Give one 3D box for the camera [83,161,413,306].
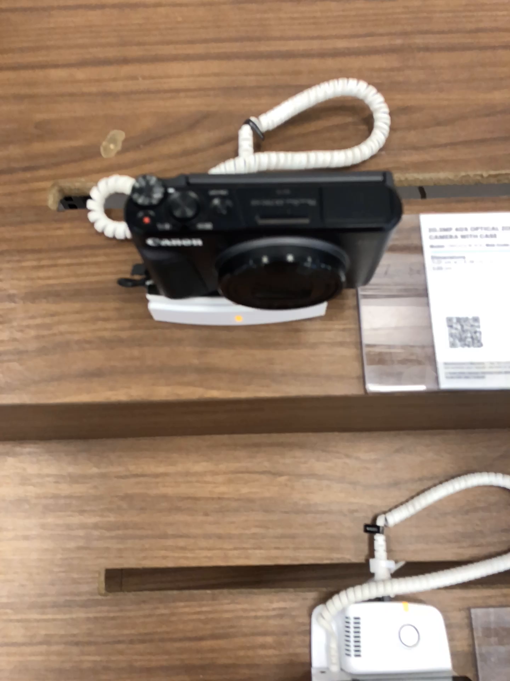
[{"bbox_3d":[-0.003,-0.042,0.242,0.120,0.070,0.030,-1,72,0],"label":"camera"}]
